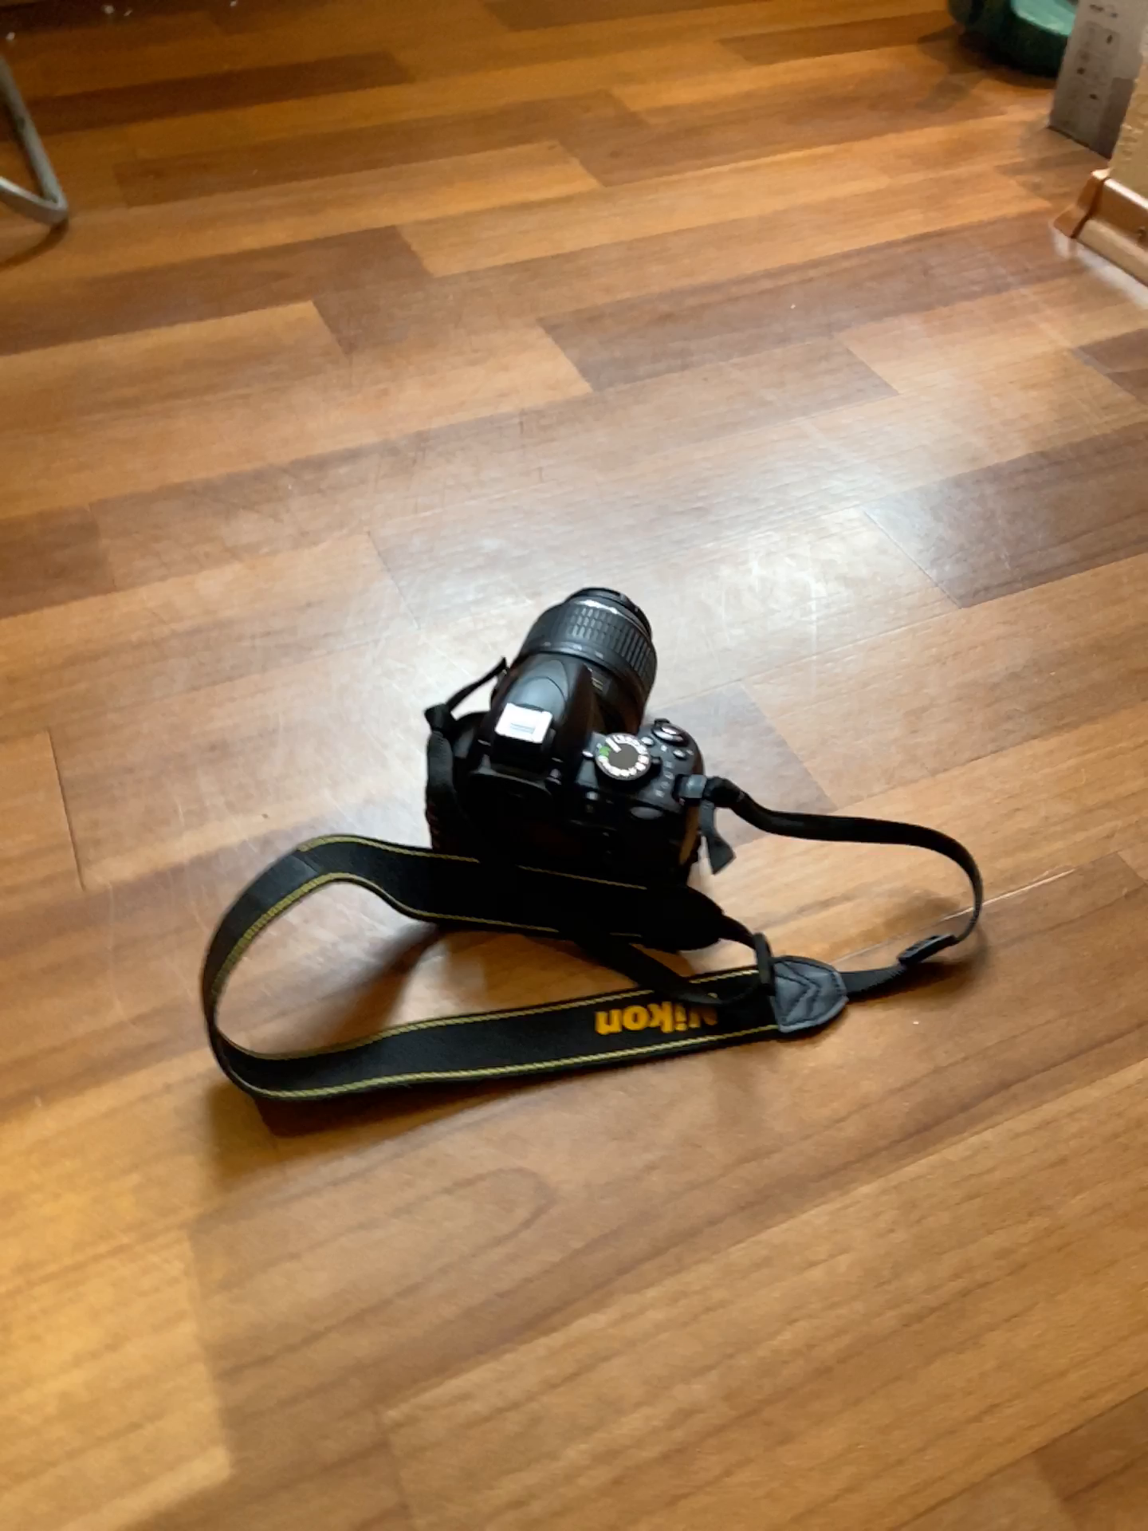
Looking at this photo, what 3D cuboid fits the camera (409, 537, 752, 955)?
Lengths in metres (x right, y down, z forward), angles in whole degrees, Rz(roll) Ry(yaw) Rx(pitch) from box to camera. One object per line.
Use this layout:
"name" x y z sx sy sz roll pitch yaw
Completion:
"camera" 0.008 -0.013 0.561 0.120 0.100 0.154 11 49 9
